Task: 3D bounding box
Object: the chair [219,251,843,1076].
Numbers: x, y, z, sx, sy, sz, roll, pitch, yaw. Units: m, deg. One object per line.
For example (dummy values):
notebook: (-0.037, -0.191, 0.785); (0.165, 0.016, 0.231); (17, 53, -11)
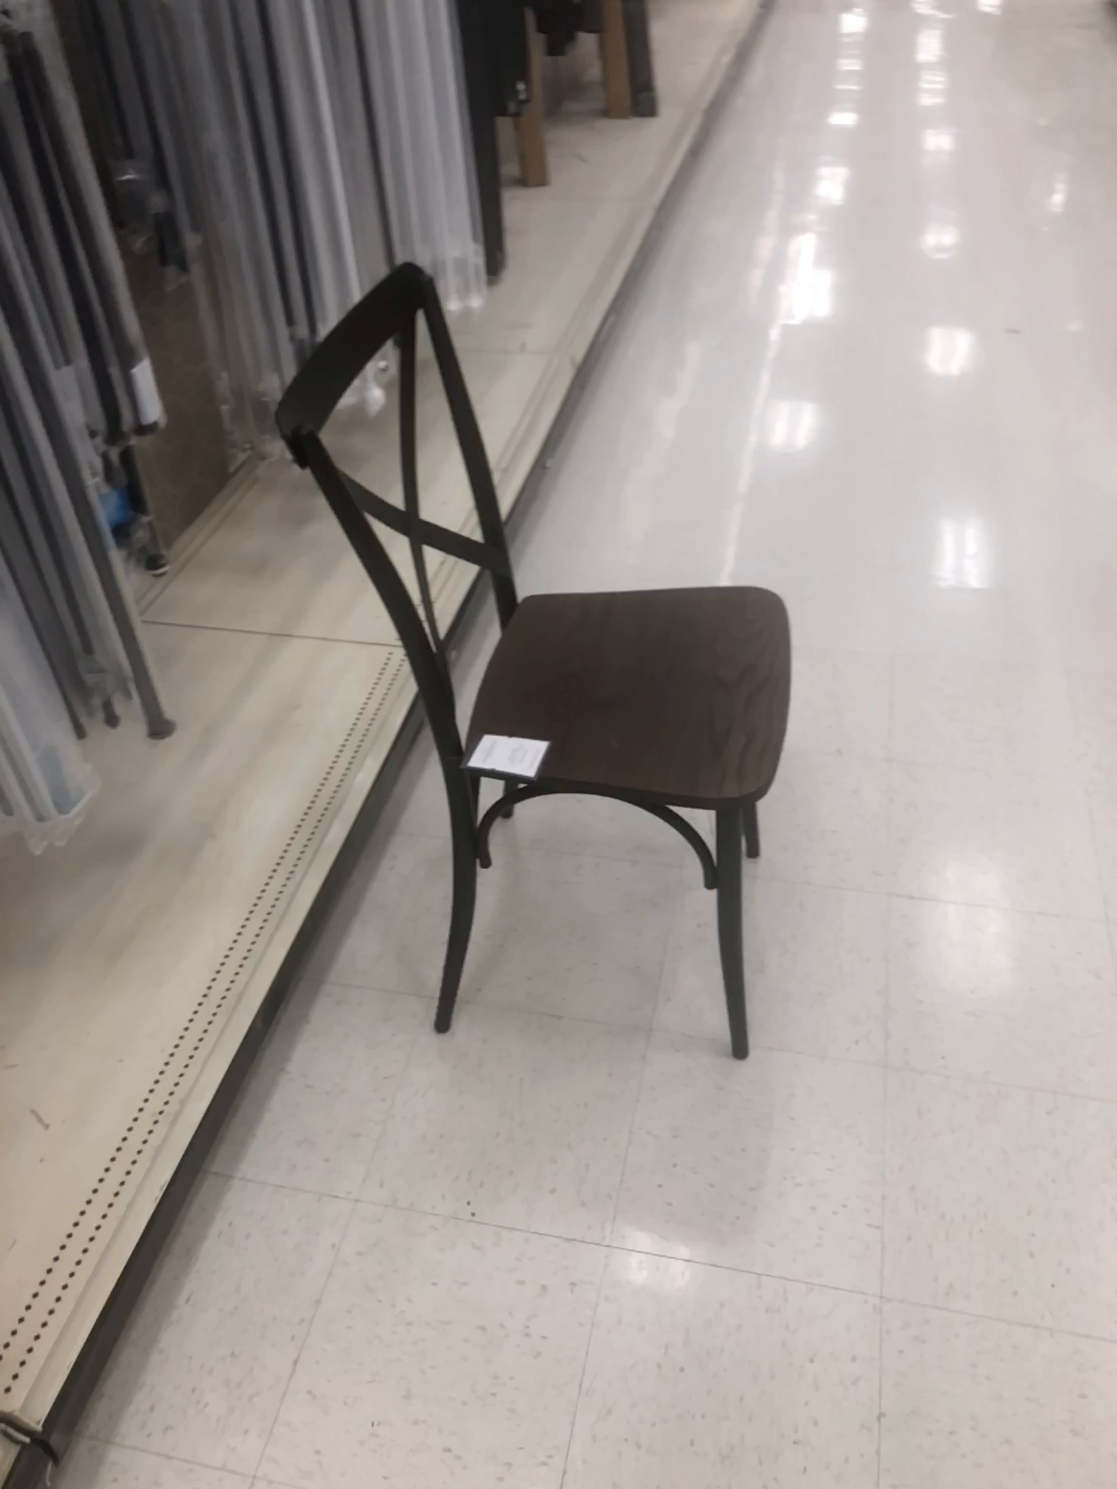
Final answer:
chair: (0.026, -0.085, 1.452); (0.525, 0.812, 0.478); (4, 40, 9)
